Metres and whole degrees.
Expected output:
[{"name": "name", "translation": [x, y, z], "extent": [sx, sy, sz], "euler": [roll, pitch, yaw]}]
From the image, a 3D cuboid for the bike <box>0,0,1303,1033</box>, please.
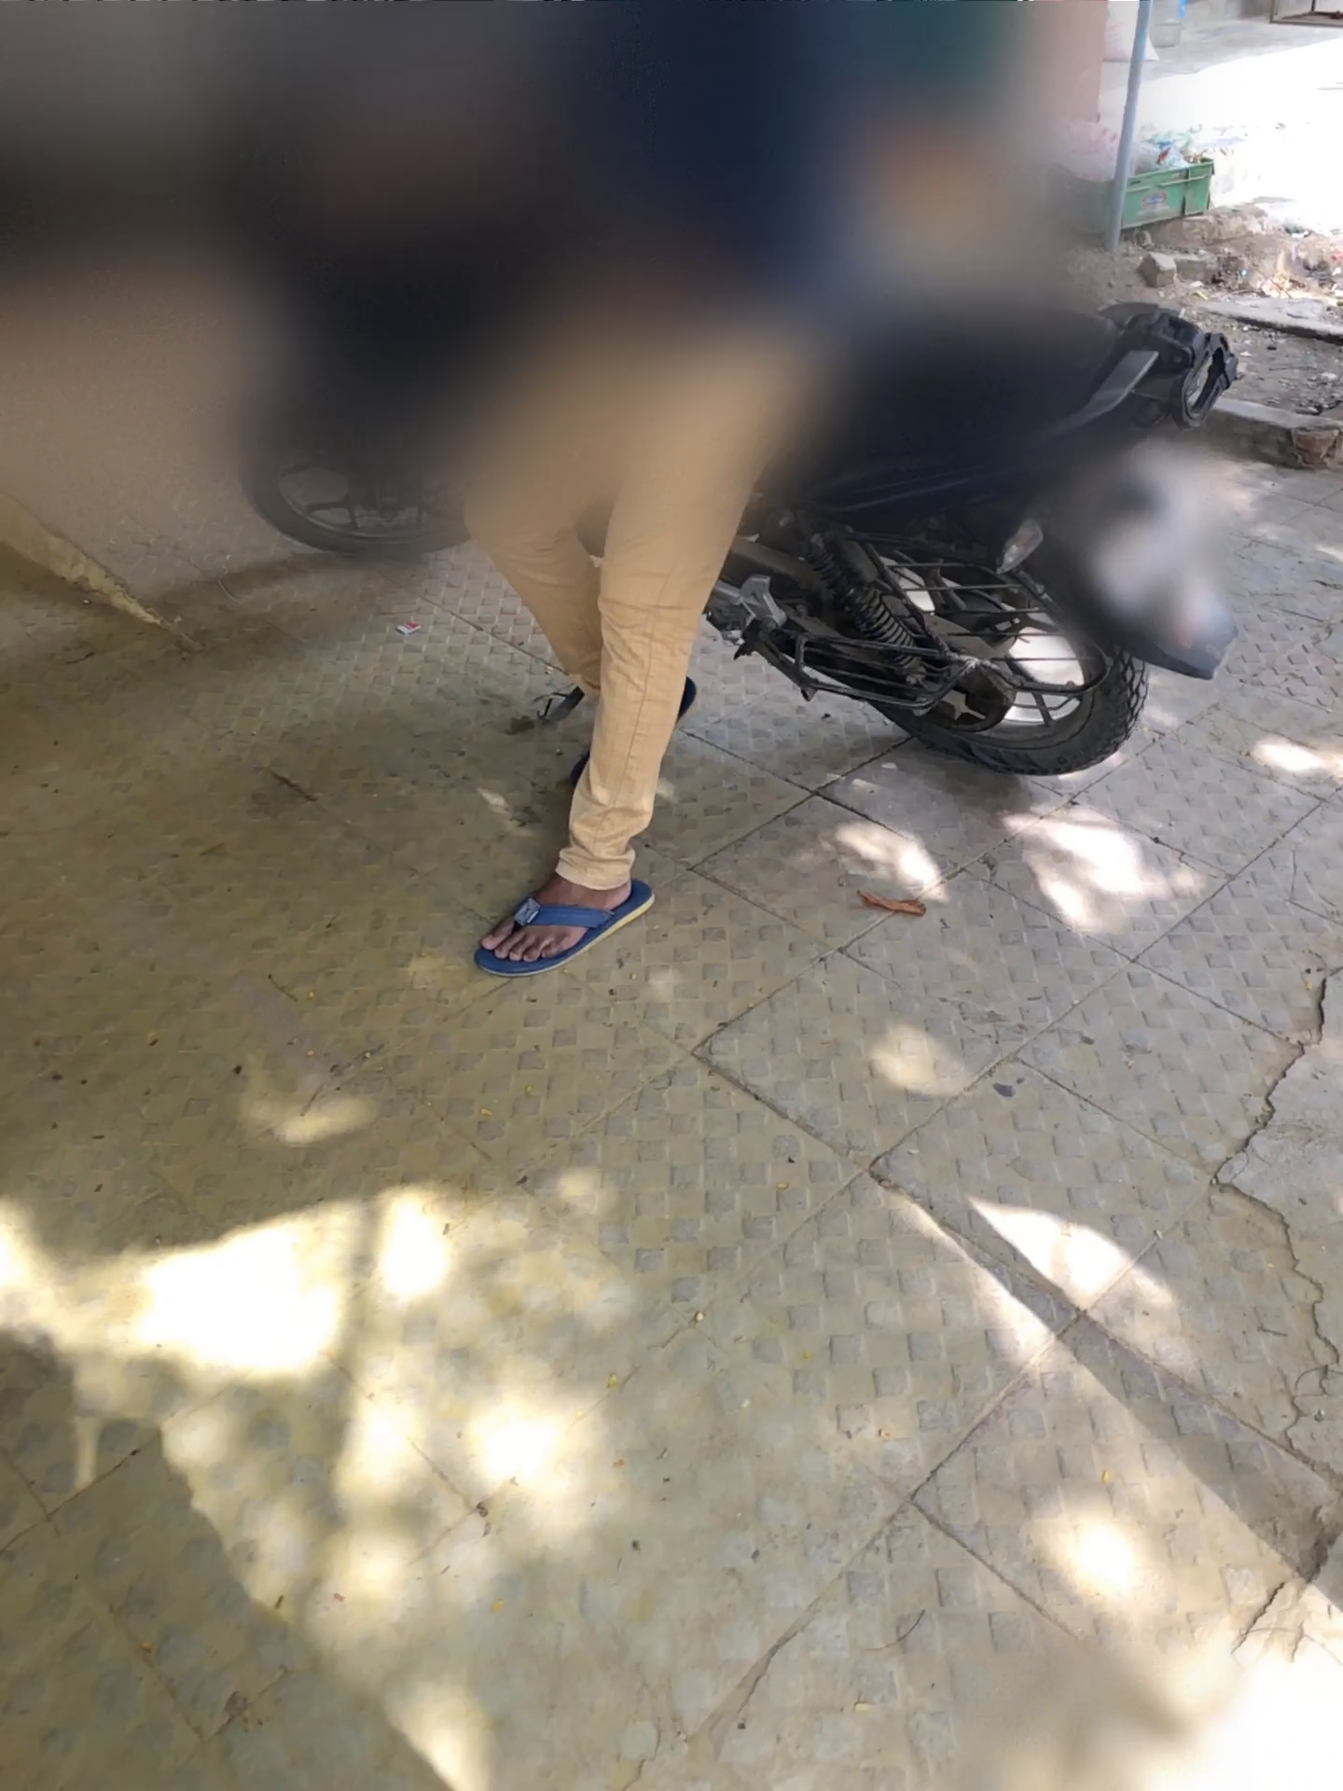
[{"name": "bike", "translation": [-0.154, -0.753, 2.238], "extent": [1.743, 1.175, 0.788], "euler": [19, 41, 27]}]
